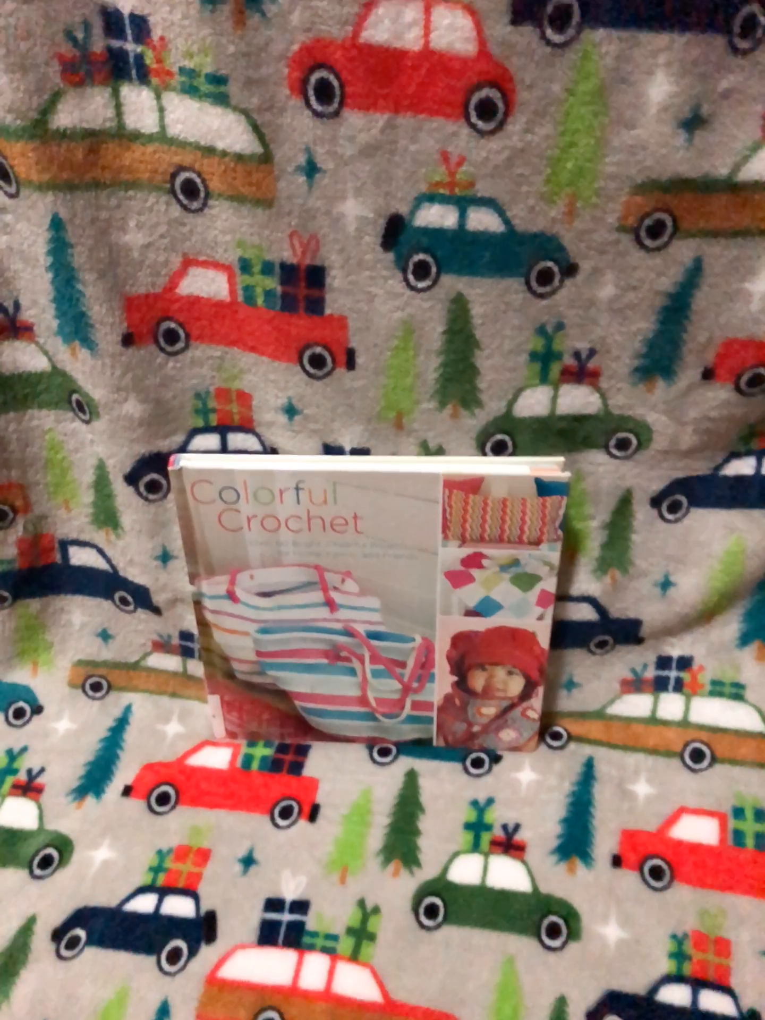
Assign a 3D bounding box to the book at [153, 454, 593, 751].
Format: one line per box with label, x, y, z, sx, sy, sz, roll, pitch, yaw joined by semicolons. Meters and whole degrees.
book;-0.004;0.062;0.469;0.202;0.214;0.020;1;42;2
